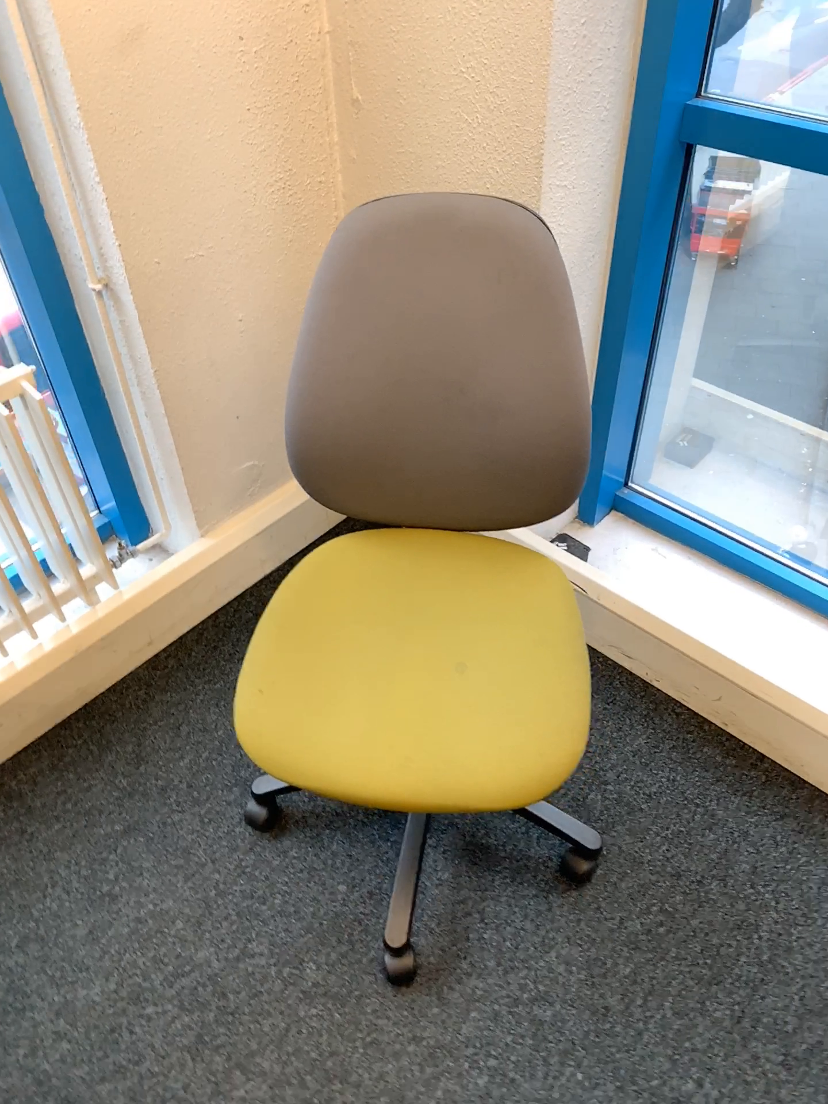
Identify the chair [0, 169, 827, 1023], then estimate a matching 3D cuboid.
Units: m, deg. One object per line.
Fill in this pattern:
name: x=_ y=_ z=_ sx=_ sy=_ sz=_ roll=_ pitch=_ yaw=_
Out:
chair: x=0.001 y=0.070 z=1.127 sx=0.692 sy=0.877 sz=0.683 roll=4 pitch=44 yaw=6
